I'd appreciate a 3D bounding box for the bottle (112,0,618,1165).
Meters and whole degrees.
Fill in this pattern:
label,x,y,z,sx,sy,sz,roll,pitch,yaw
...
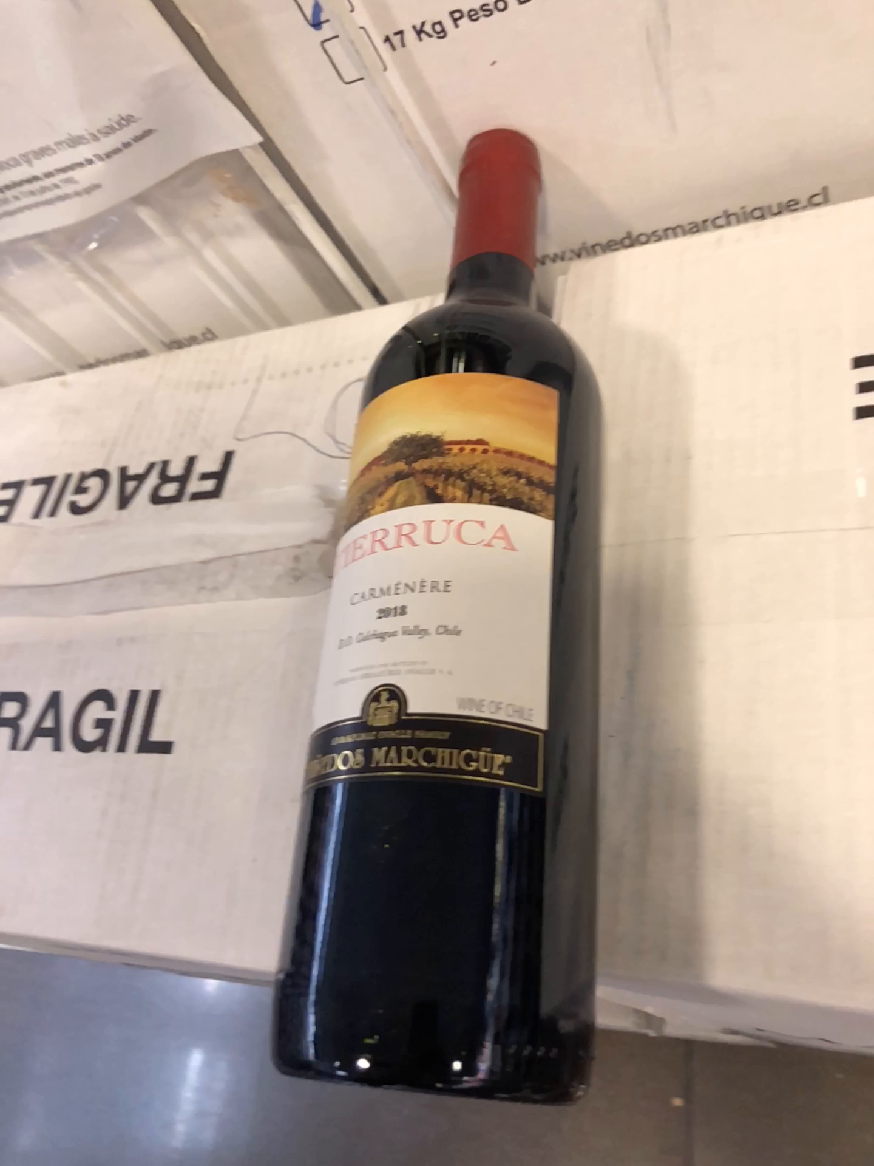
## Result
label,x,y,z,sx,sy,sz,roll,pitch,yaw
bottle,0.000,-0.023,0.284,0.080,0.080,0.321,-7,63,25
